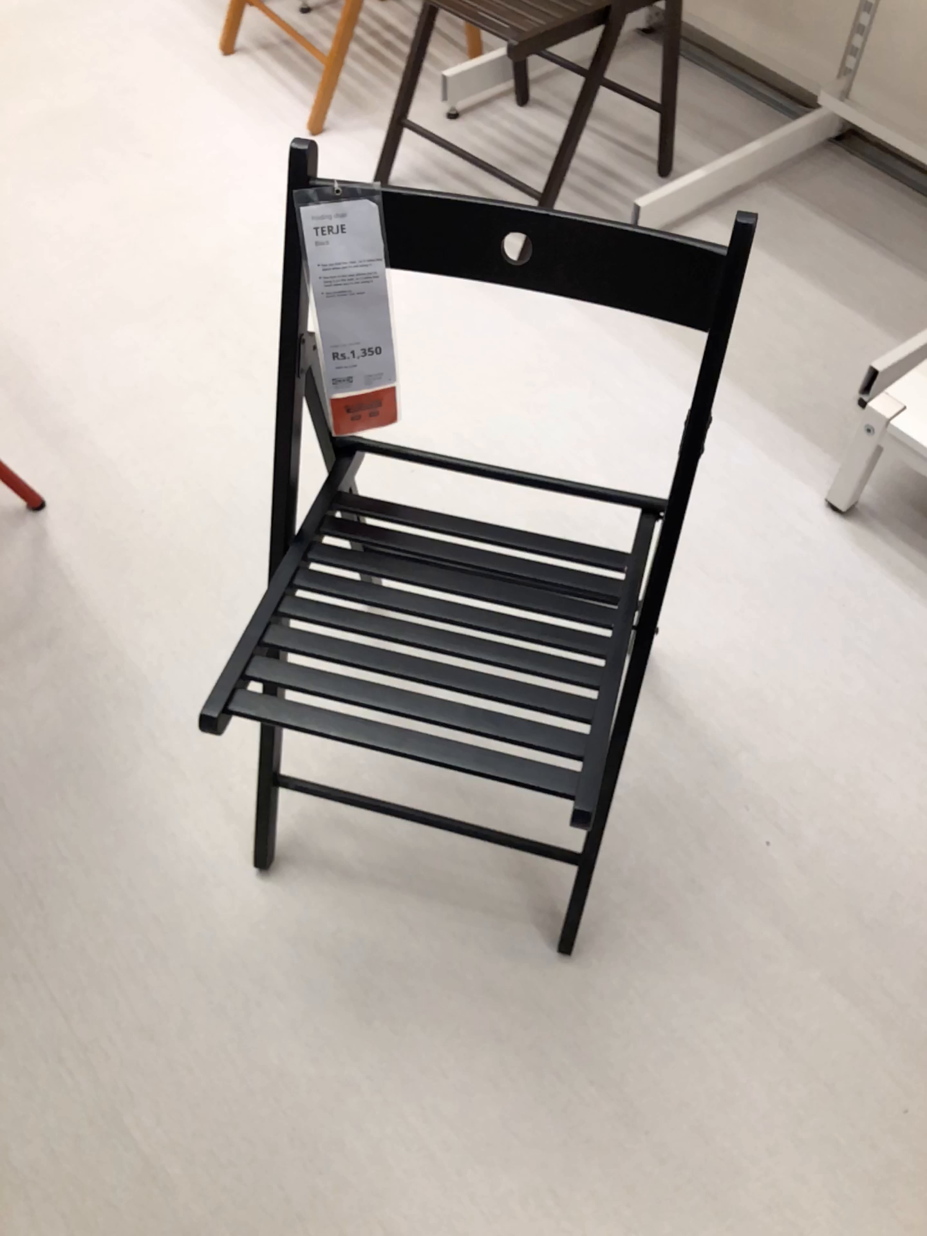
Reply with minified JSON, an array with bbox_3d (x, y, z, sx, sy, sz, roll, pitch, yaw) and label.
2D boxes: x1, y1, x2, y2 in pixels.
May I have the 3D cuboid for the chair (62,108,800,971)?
[{"bbox_3d":[0.009,-0.024,1.080,0.440,0.726,0.482,13,57,9],"label":"chair"}]
